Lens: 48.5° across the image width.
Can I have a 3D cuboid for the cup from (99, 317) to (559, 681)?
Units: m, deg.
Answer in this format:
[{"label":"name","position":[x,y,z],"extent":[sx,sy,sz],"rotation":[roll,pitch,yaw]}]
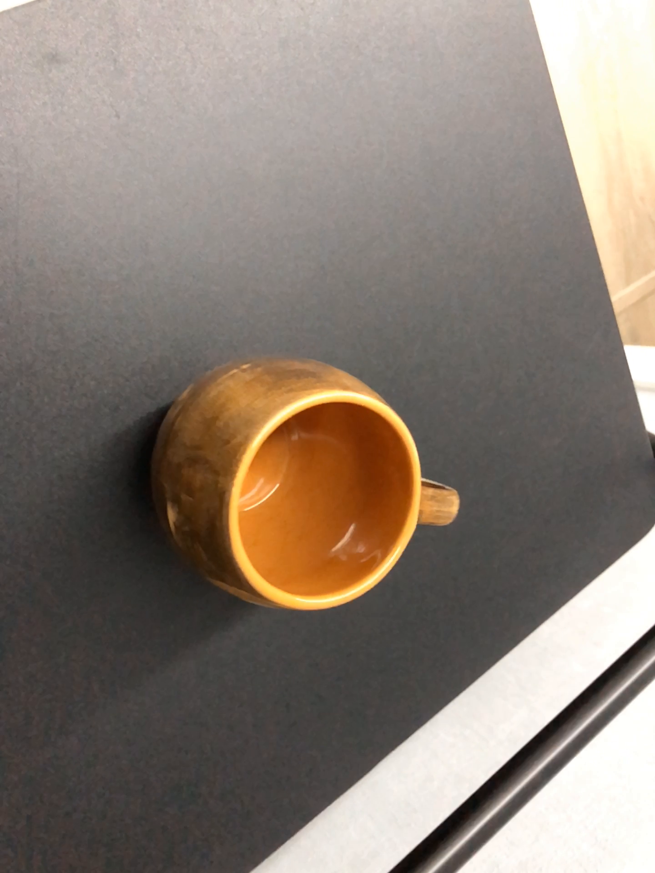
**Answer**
[{"label":"cup","position":[-0.001,0.022,0.288],"extent":[0.132,0.092,0.092],"rotation":[22,88,-30]}]
